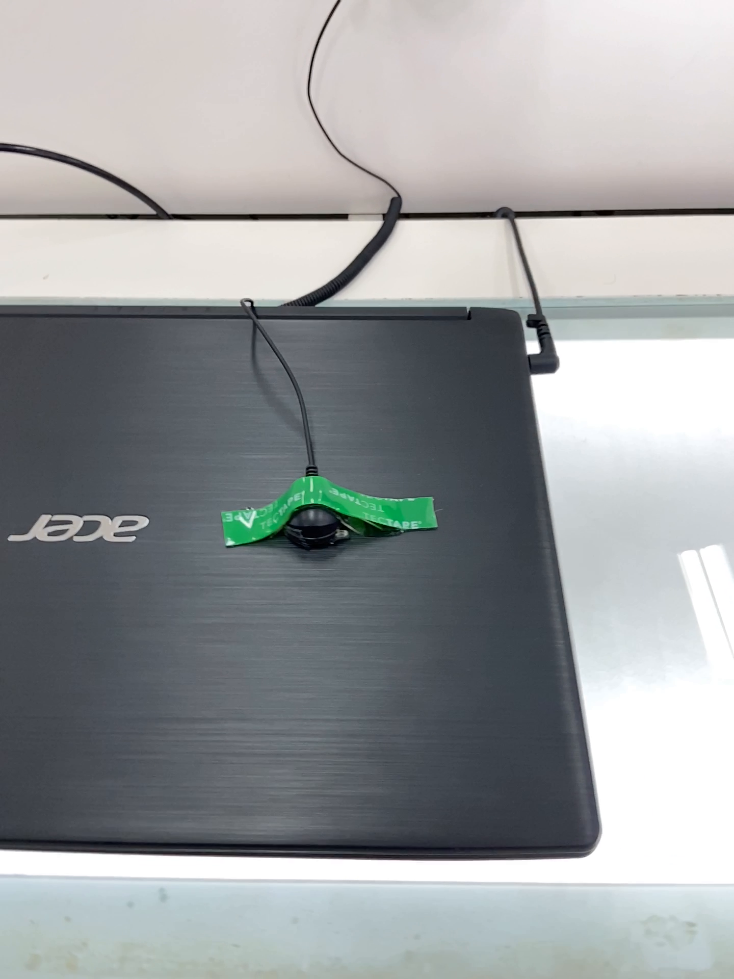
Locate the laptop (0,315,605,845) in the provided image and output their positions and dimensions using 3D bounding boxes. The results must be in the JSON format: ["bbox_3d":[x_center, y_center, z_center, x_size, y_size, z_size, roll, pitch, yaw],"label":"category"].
[{"bbox_3d":[-0.119,0.011,0.311,0.386,0.001,0.248,0,52,1],"label":"laptop"}]
